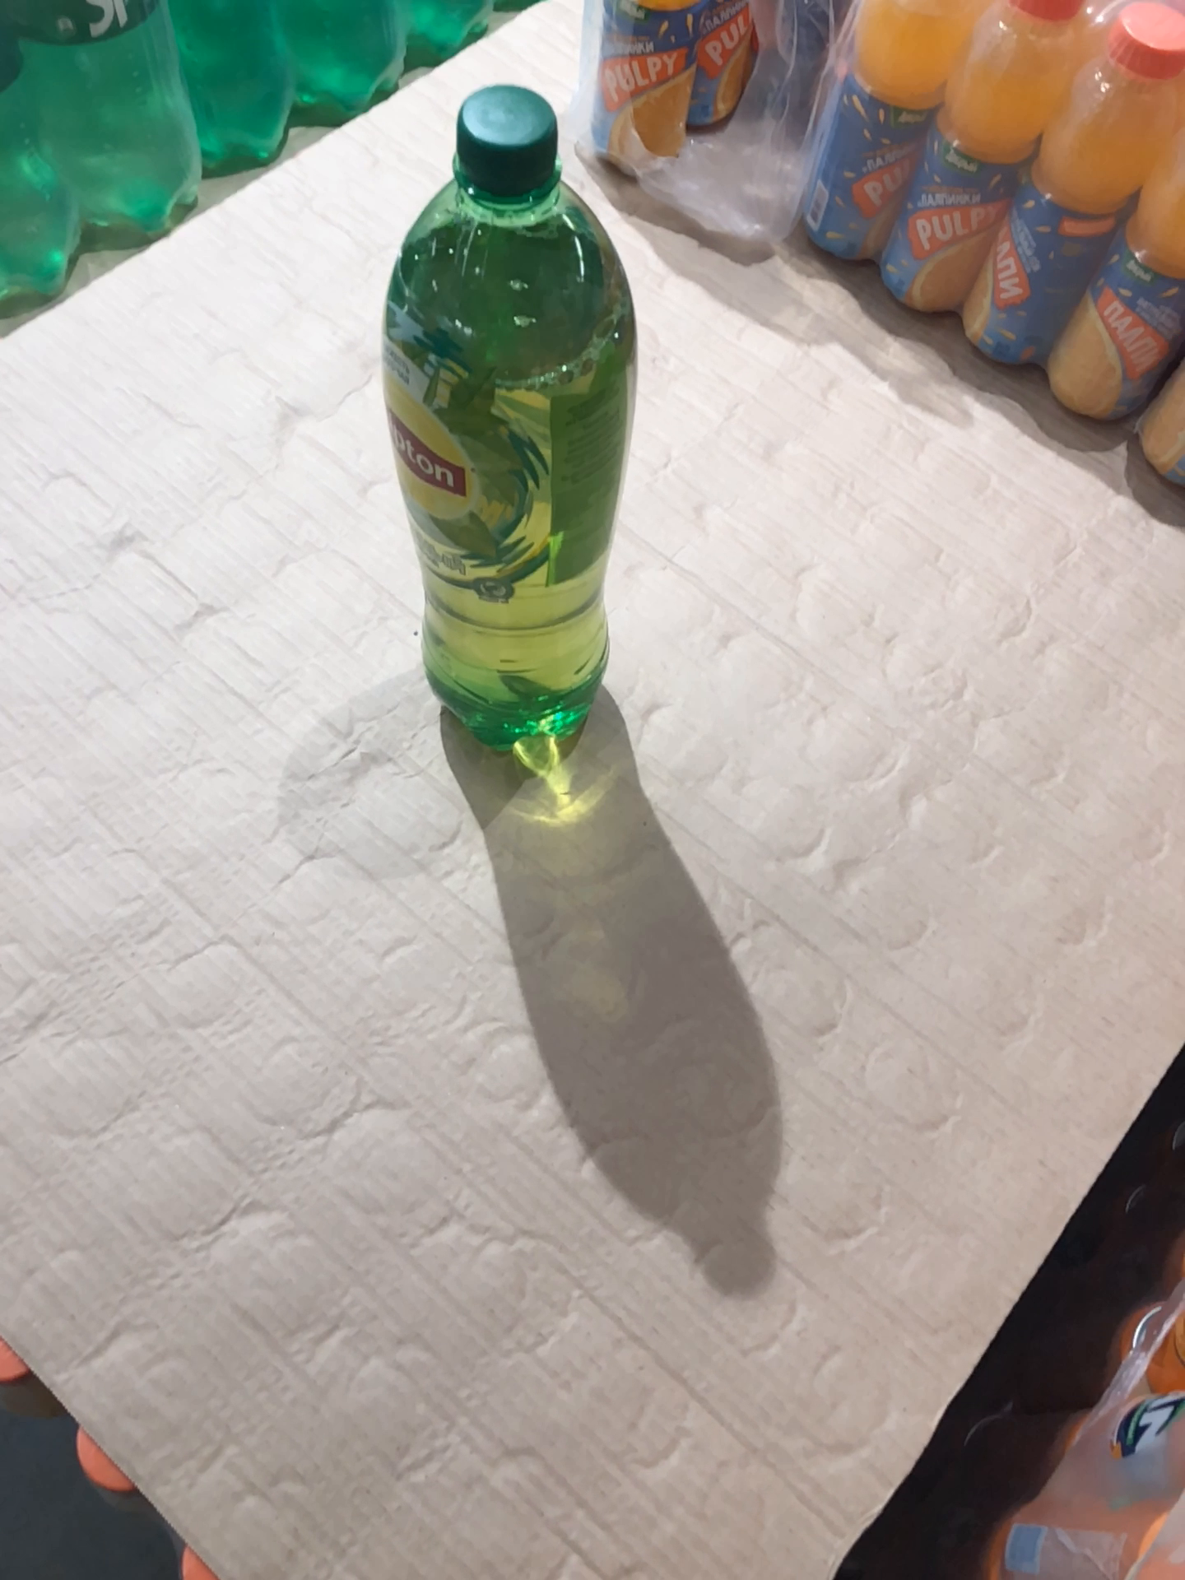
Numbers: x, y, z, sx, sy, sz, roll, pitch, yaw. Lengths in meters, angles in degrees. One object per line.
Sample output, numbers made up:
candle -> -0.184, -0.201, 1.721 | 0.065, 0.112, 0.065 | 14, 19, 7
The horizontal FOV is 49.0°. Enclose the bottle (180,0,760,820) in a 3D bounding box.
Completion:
bottle -> -0.044, -0.126, 0.511 | 0.120, 0.289, 0.120 | 2, 64, -3
